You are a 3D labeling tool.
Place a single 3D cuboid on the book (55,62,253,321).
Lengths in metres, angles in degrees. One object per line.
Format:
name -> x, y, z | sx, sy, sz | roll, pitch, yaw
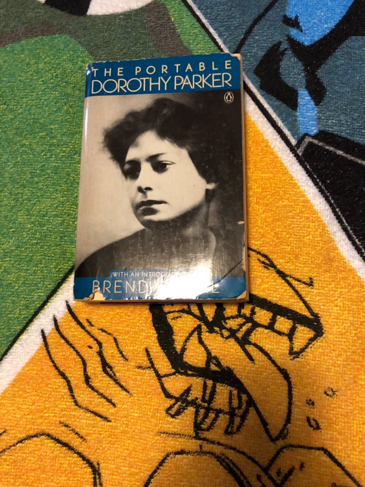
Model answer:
book -> -0.019, -0.041, 0.325 | 0.140, 0.040, 0.200 | 0, 79, 3
